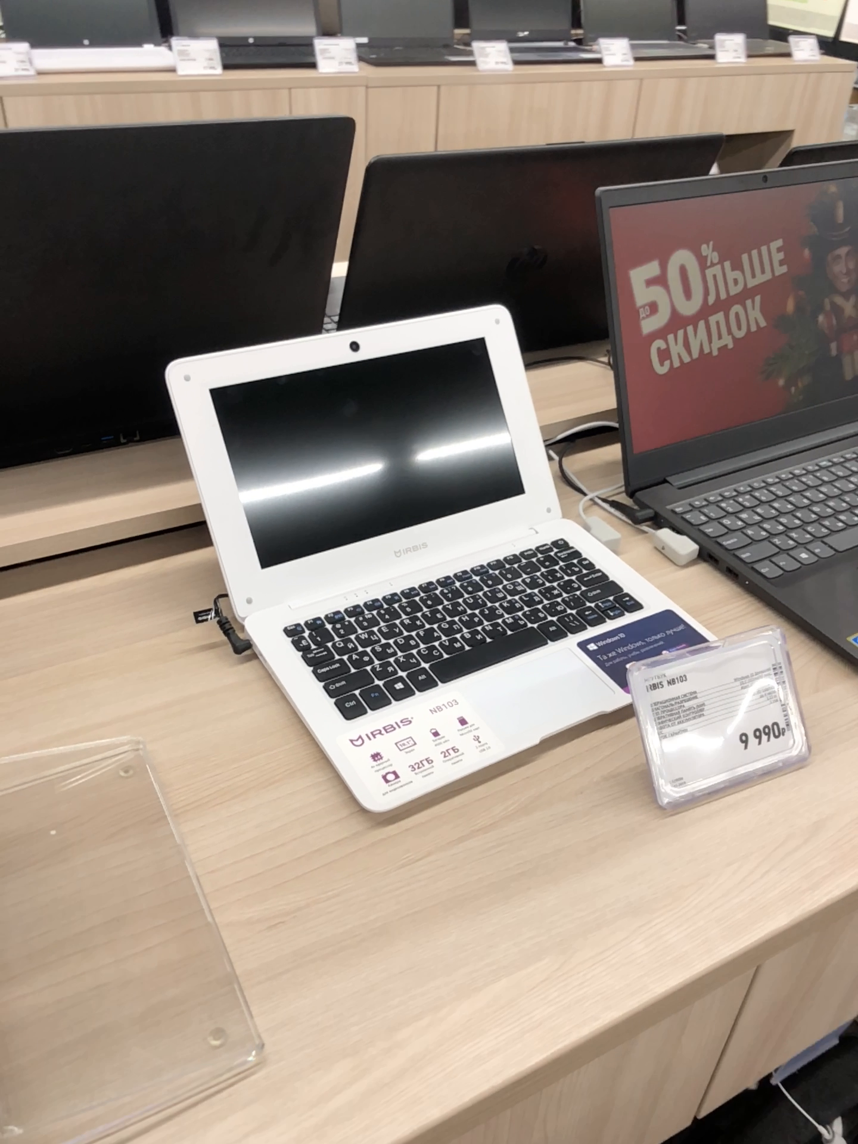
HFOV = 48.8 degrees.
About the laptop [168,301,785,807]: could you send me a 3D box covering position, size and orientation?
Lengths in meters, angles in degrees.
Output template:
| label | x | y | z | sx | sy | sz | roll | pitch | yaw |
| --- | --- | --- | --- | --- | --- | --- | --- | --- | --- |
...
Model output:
| label | x | y | z | sx | sy | sz | roll | pitch | yaw |
| --- | --- | --- | --- | --- | --- | --- | --- | --- | --- |
| laptop | 0.015 | -0.048 | 0.682 | 0.296 | 0.144 | 0.318 | -17 | 42 | -26 |
